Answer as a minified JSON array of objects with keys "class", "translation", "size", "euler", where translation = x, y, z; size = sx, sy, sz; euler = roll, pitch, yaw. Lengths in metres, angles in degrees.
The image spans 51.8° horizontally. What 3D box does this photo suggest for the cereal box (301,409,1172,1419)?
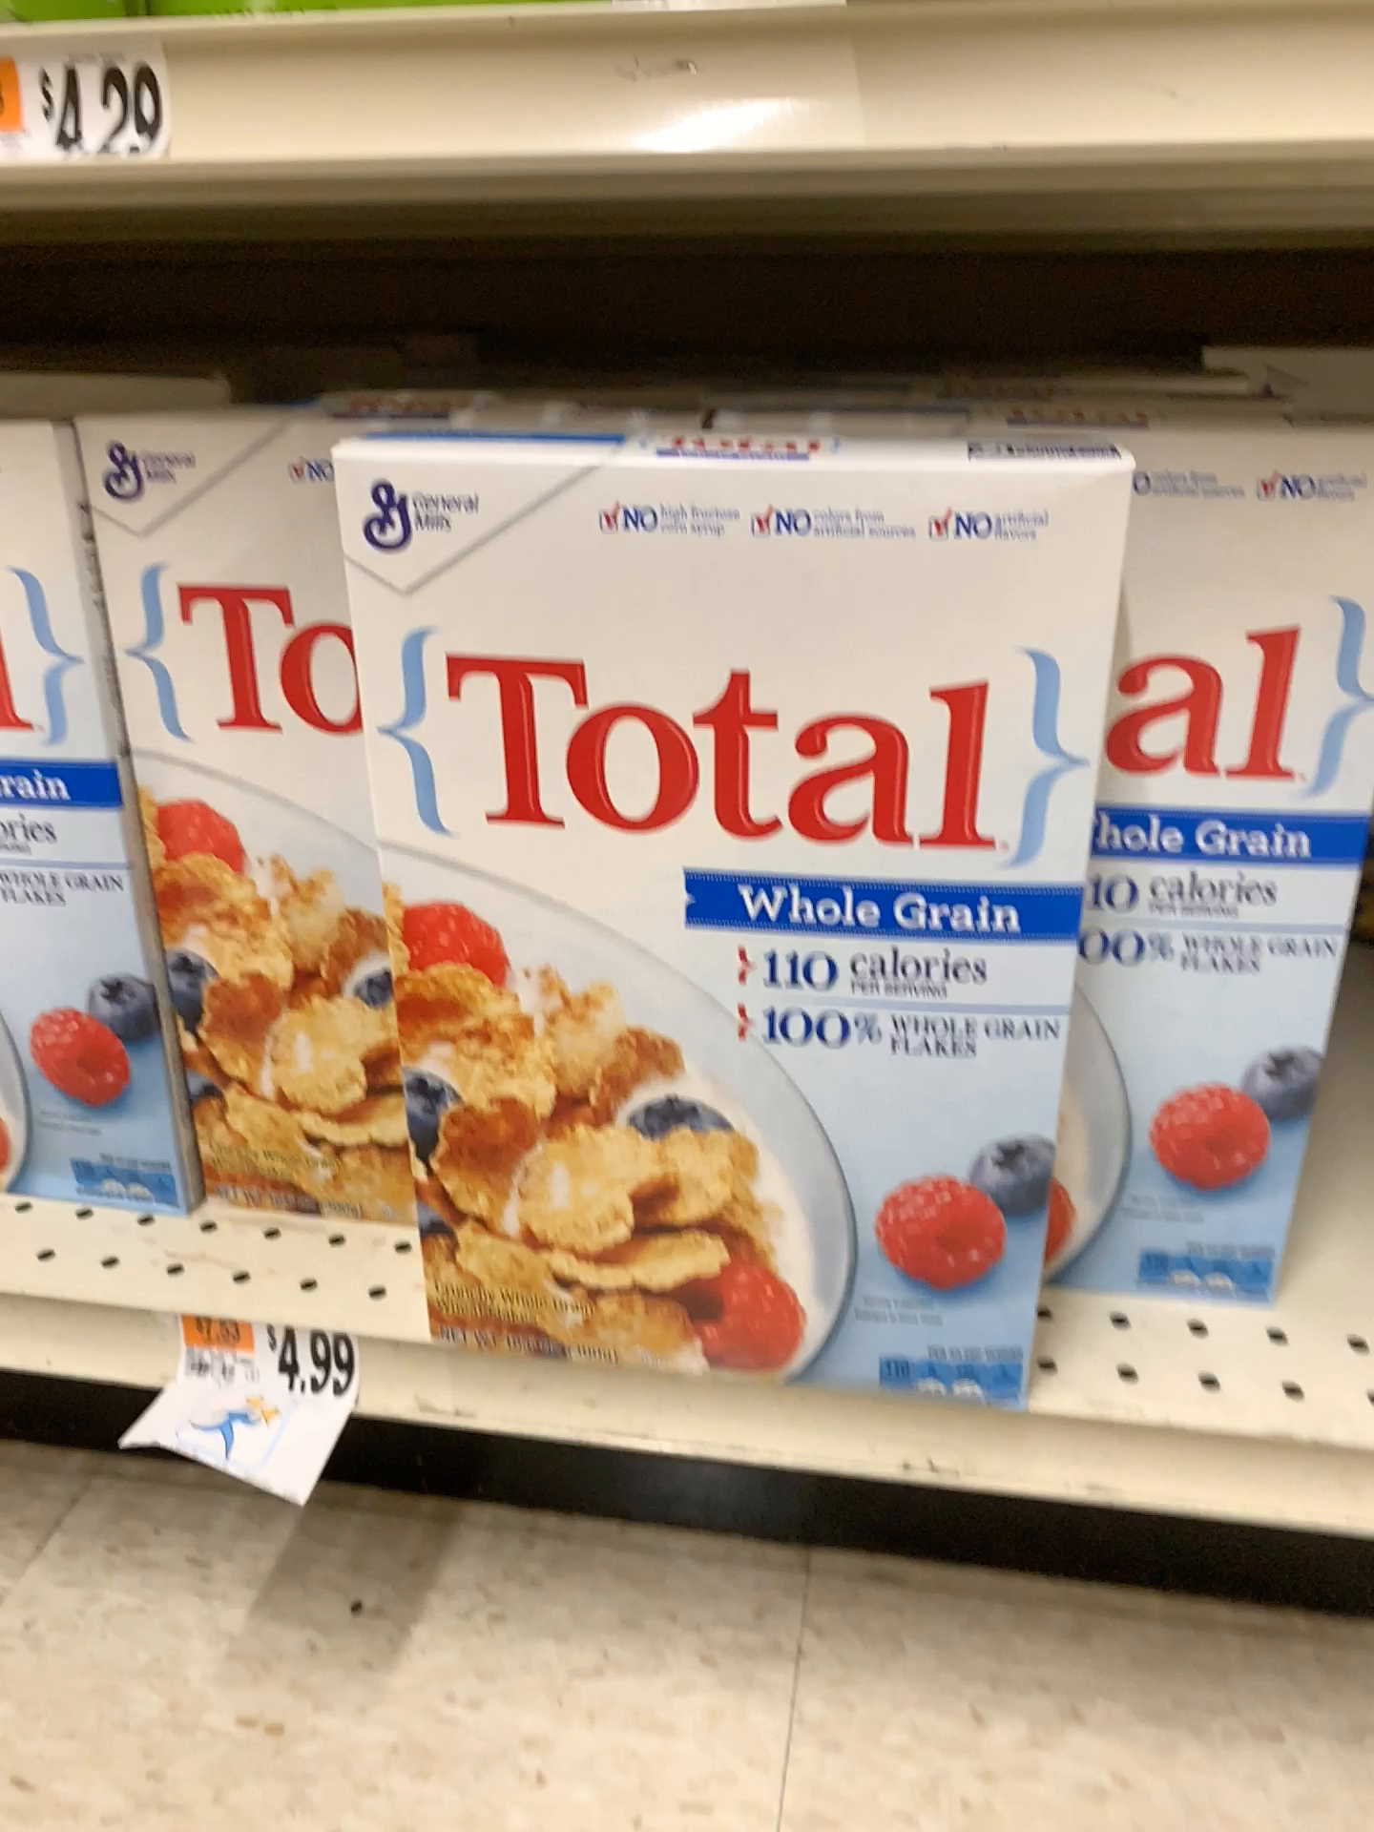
[{"class":"cereal box","translation":[0.012,0.006,0.402],"size":[0.200,0.278,0.050],"euler":[4,25,10]}]
